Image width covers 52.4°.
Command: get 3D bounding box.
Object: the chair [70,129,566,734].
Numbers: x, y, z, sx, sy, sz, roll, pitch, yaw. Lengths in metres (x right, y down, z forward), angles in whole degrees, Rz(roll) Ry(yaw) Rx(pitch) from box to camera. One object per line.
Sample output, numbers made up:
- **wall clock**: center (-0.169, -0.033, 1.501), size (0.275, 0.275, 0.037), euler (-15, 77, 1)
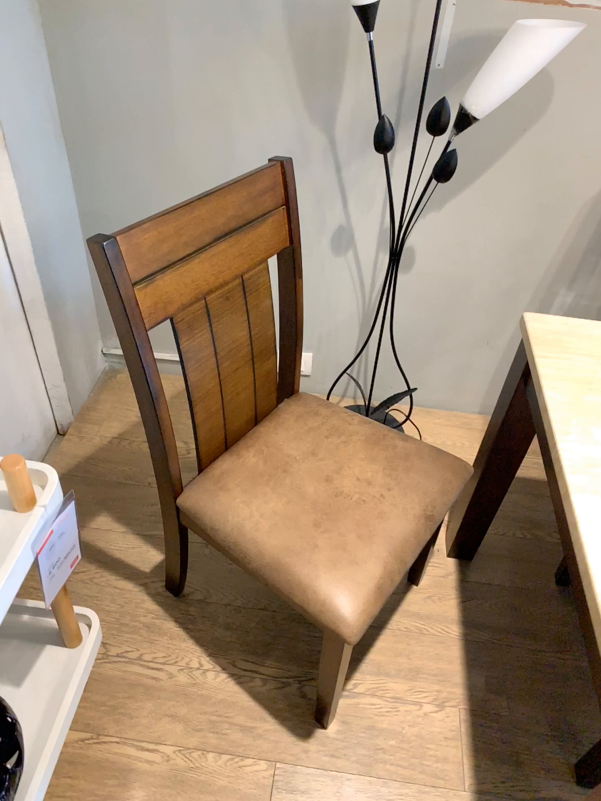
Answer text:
- **chair**: center (0.015, 0.096, 1.244), size (0.551, 0.996, 0.511), euler (27, 47, 23)
